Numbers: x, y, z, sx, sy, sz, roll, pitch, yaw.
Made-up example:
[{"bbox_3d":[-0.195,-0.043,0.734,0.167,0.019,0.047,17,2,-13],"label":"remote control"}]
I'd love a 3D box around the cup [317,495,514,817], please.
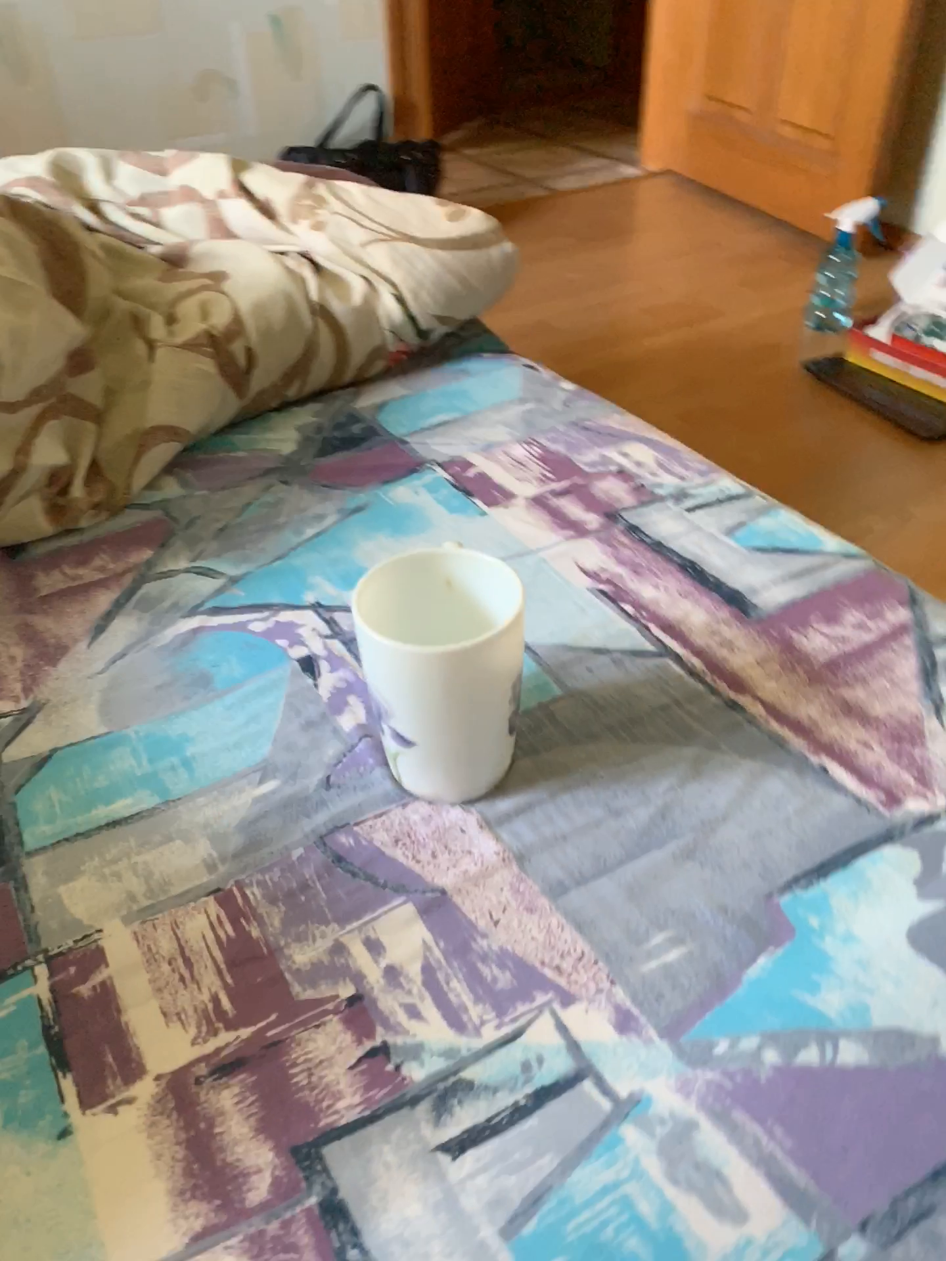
[{"bbox_3d":[-0.024,0.010,0.470,0.080,0.099,0.121,-2,38,0],"label":"cup"}]
